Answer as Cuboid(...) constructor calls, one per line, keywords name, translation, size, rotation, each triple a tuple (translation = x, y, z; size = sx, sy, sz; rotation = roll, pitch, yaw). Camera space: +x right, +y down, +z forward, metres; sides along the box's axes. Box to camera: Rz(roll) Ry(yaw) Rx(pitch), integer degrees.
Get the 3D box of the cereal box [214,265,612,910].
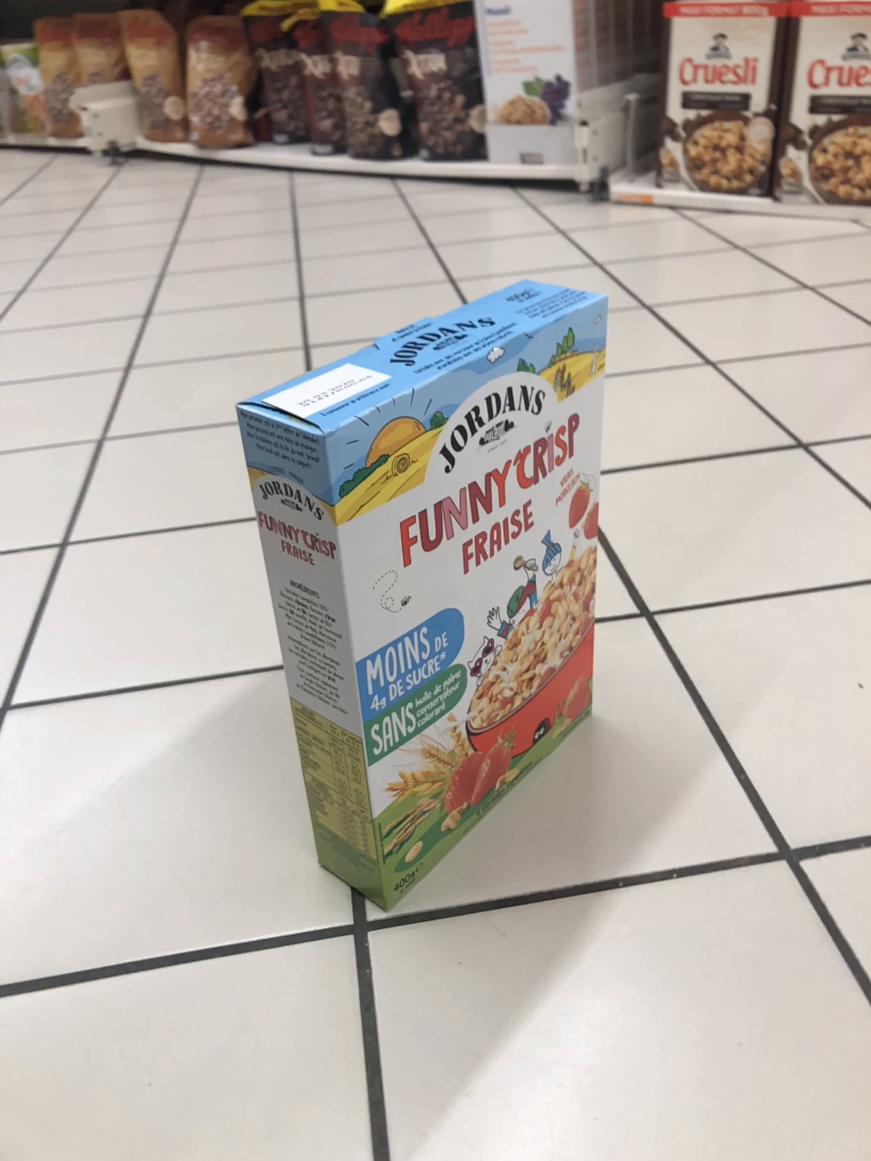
Cuboid(name="cereal box", translation=(0.008, 0.001, 0.425), size=(0.050, 0.229, 0.171), rotation=(21, 40, 36))
